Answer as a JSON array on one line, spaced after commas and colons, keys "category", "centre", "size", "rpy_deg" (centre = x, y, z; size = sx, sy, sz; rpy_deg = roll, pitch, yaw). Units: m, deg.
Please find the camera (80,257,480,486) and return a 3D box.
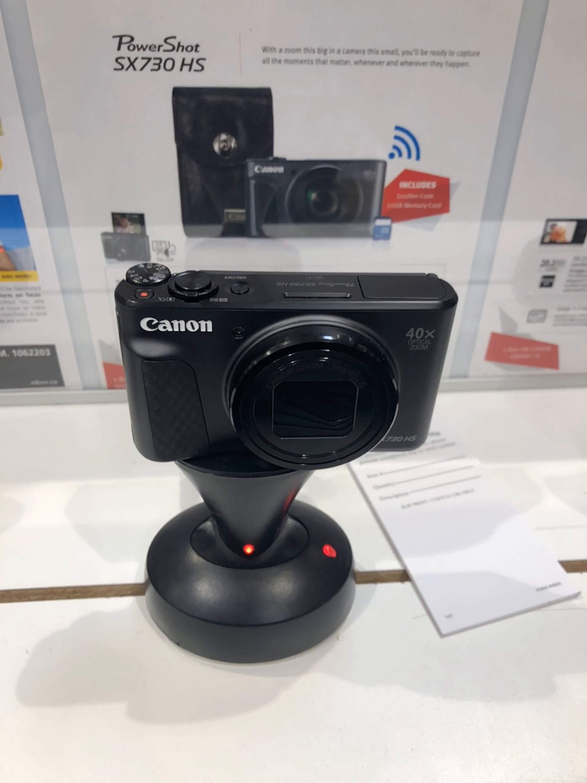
[{"category": "camera", "centre": [-0.005, -0.006, 0.233], "size": [0.120, 0.070, 0.040], "rpy_deg": [0, 37, -4]}]
